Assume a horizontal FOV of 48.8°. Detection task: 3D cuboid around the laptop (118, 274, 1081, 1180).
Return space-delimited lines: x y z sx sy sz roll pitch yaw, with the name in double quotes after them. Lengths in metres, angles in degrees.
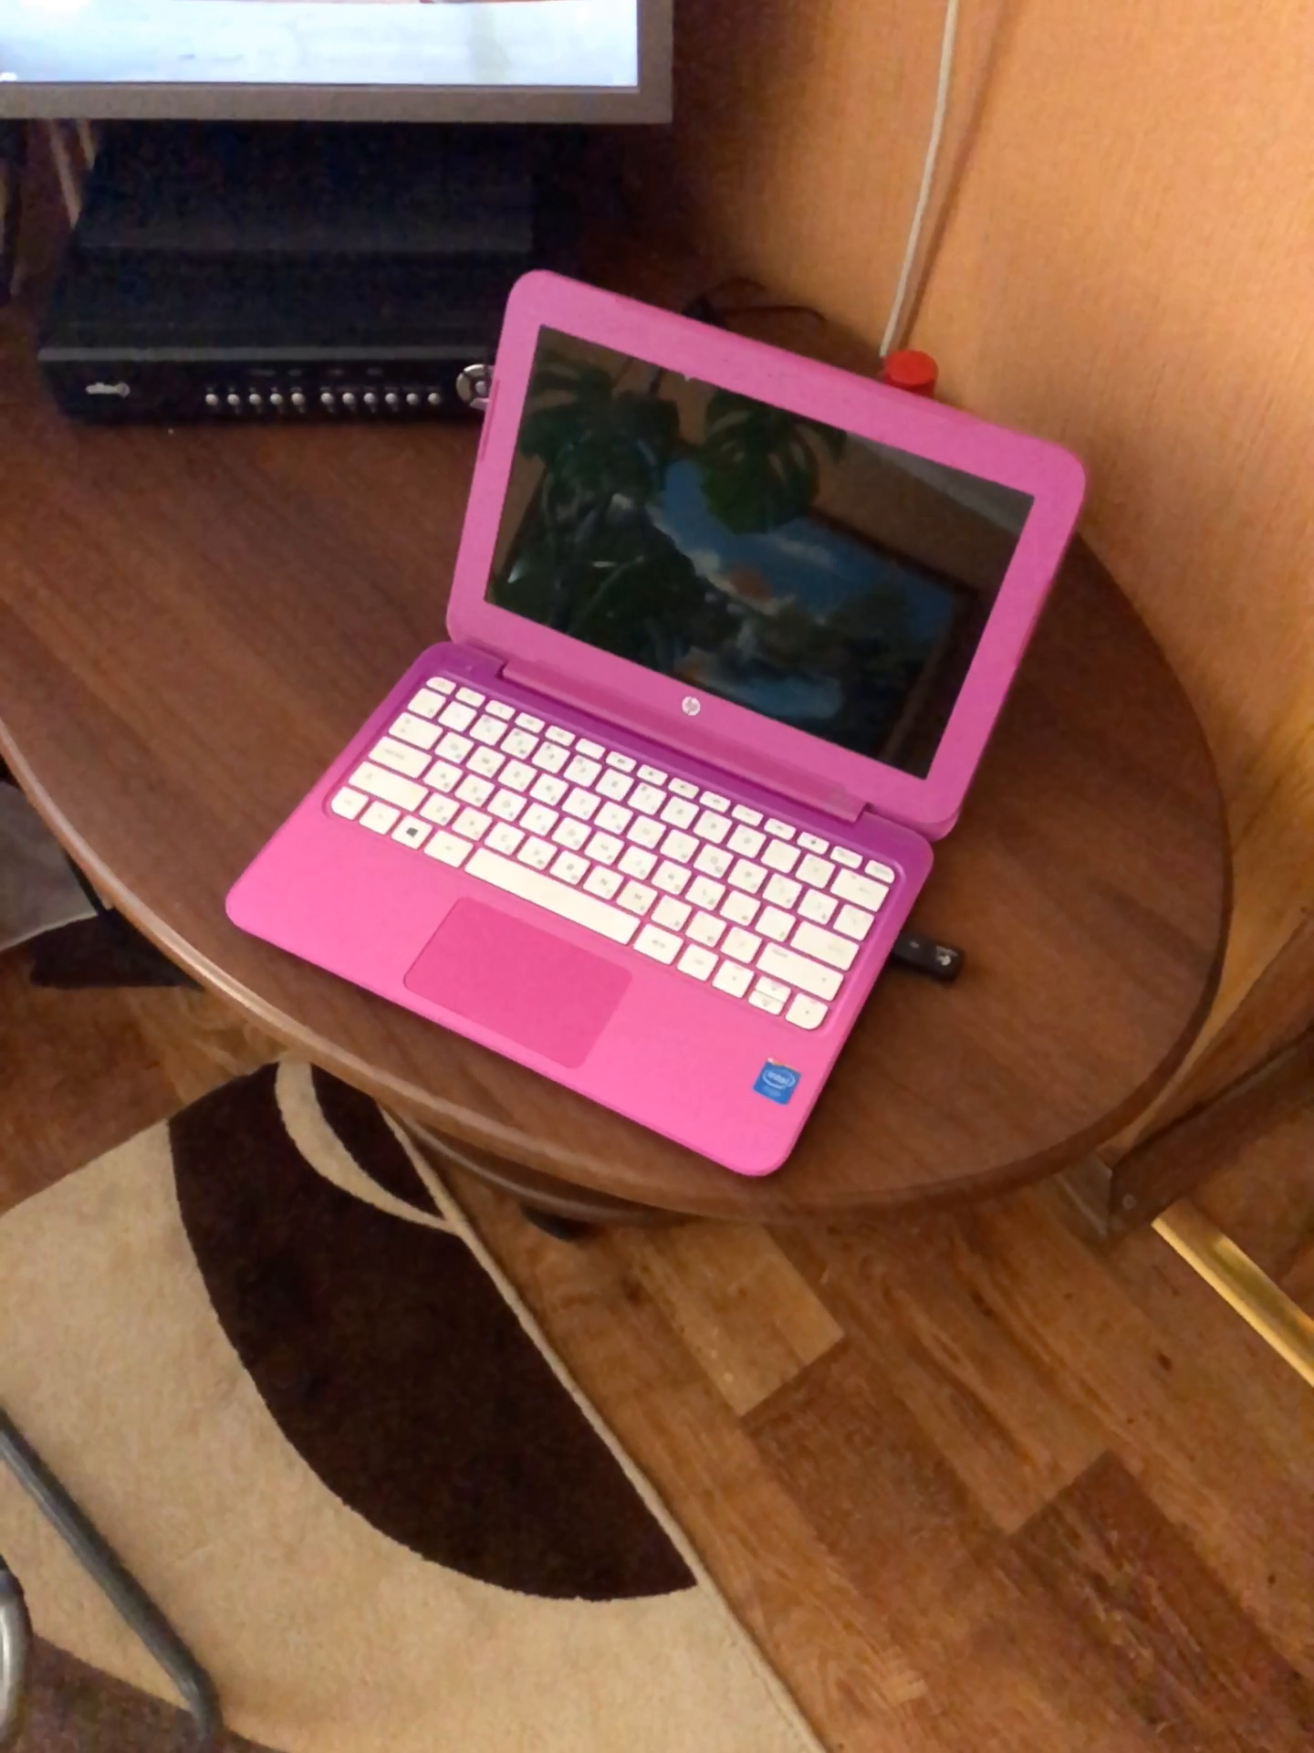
-0.011 -0.080 0.642 0.279 0.150 0.296 24 60 14 "laptop"
